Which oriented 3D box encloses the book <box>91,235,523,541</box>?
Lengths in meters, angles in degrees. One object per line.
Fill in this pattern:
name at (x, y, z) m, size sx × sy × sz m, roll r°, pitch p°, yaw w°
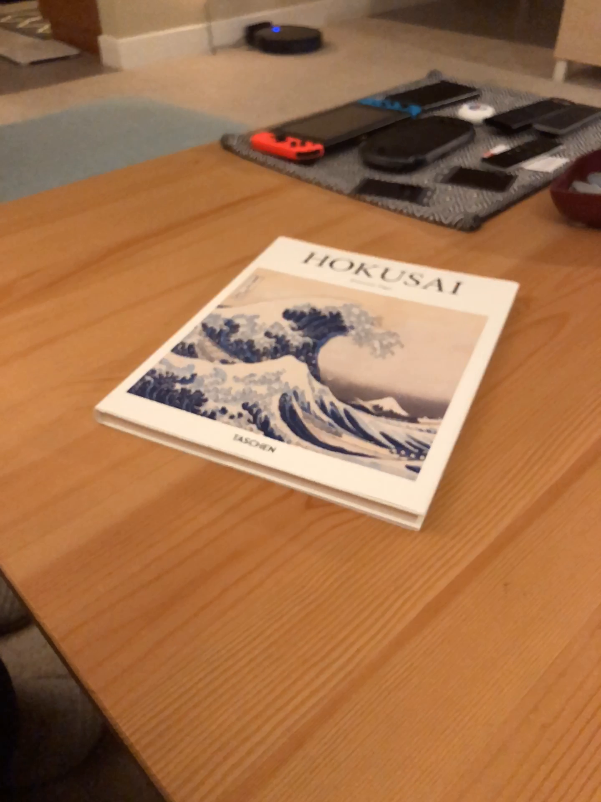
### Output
book at (0.022, -0.036, 0.467) m, size 0.210 × 0.020 × 0.253 m, roll 16°, pitch 42°, yaw 19°
